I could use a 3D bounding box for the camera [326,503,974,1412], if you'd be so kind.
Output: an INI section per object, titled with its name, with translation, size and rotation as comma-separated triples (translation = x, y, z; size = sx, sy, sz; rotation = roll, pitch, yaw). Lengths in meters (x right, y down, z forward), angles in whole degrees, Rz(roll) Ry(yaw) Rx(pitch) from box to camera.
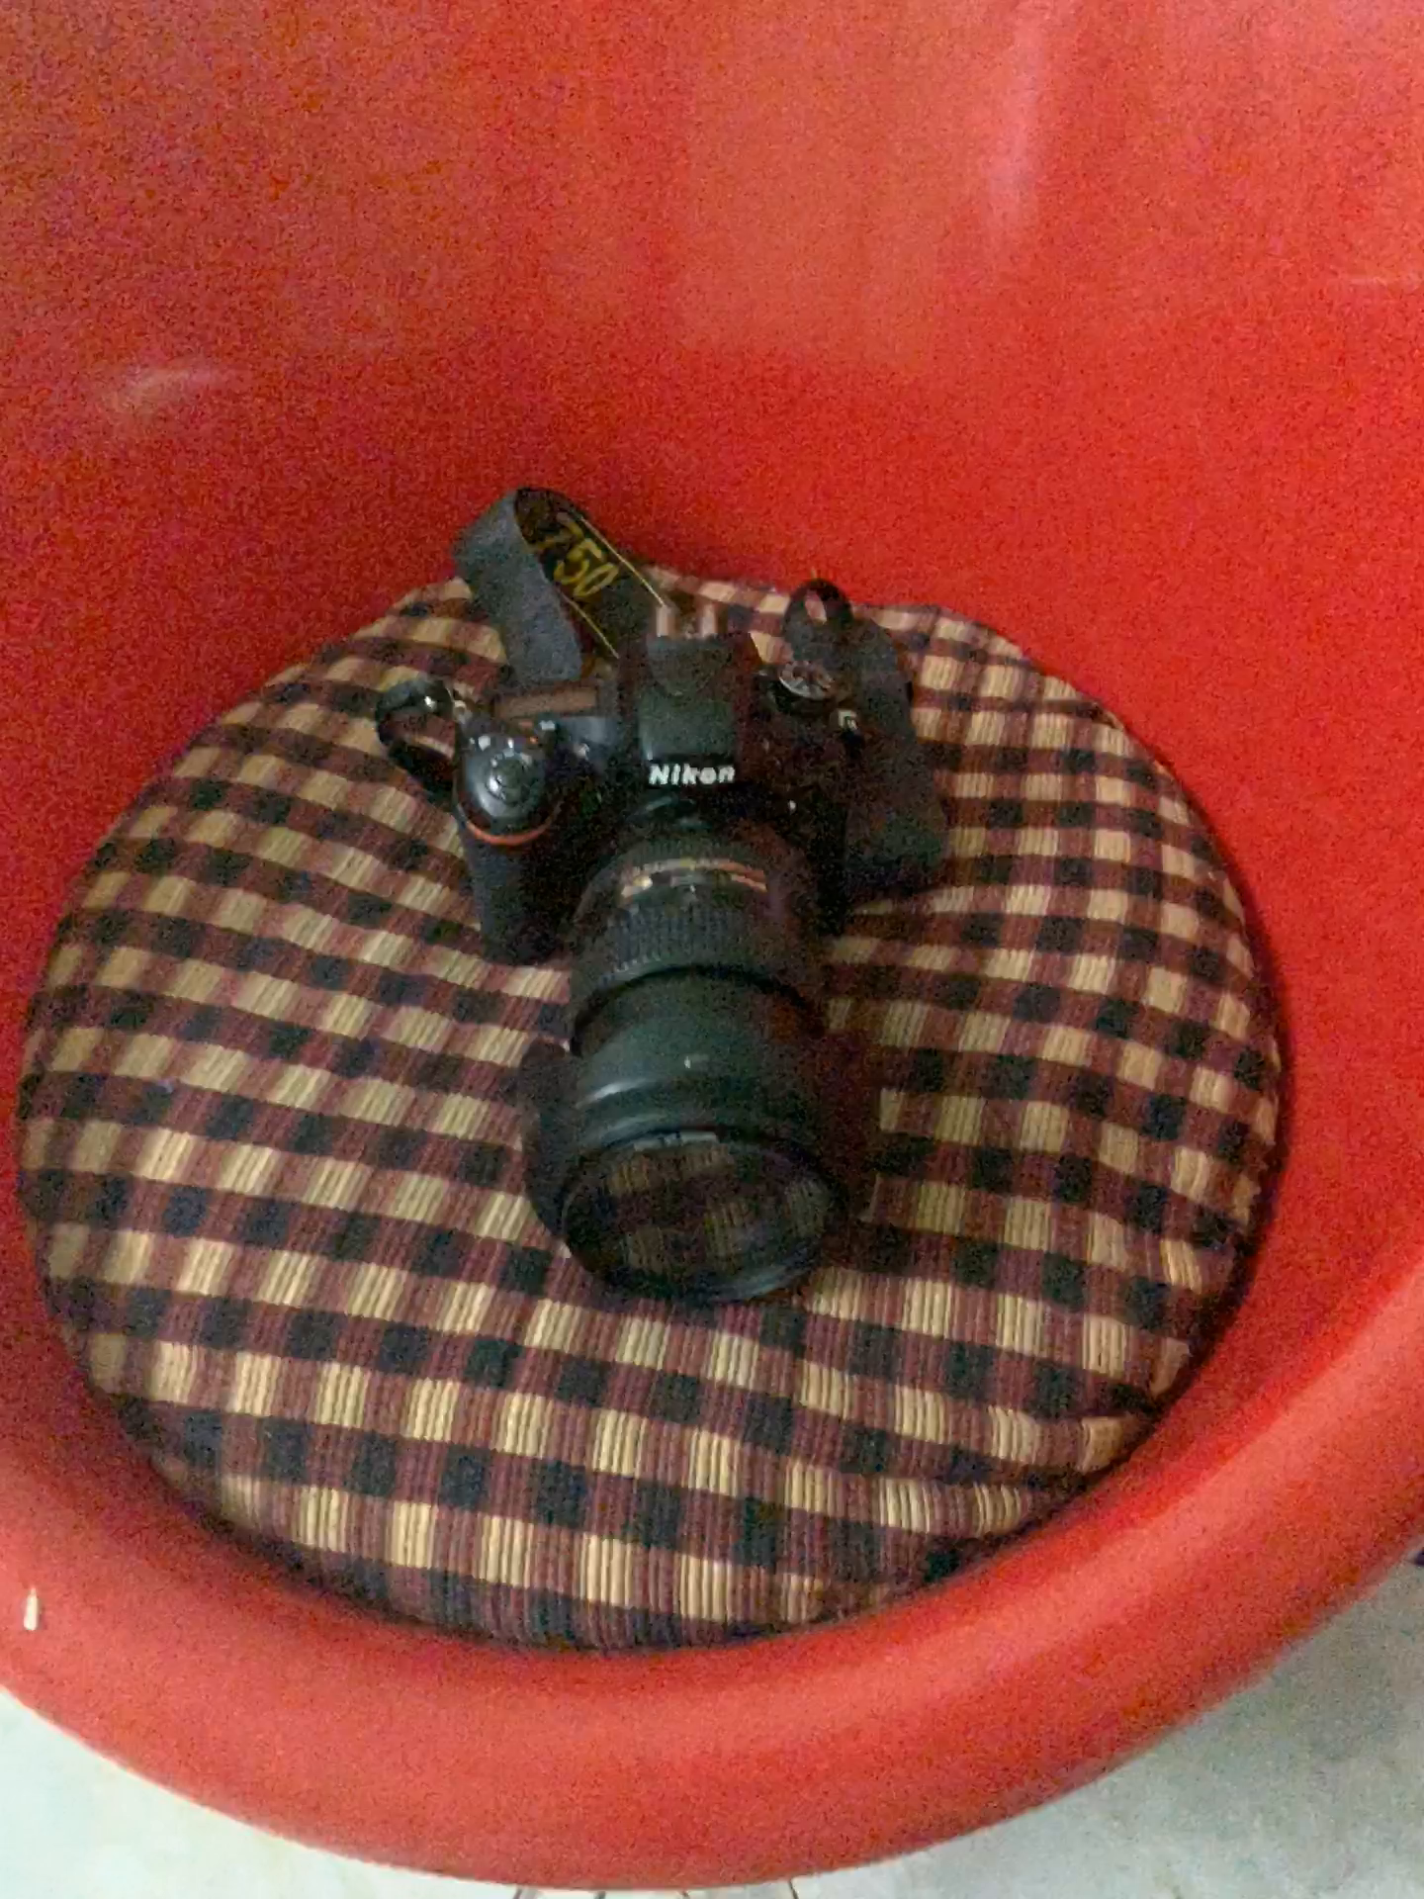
[camera]
translation = -0.020, 0.001, 0.507
size = 0.160, 0.180, 0.253
rotation = -2, 53, -1
